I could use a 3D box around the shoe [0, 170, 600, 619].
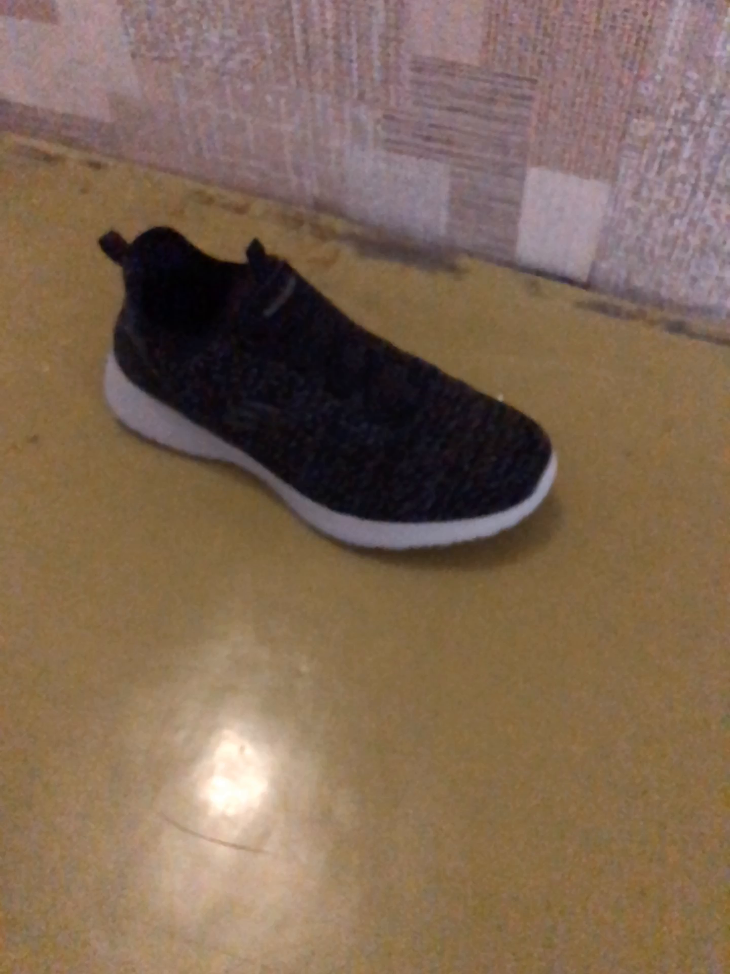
[{"bbox_3d":[-0.044,-0.065,0.504,0.320,0.120,0.130,23,58,16],"label":"shoe"}]
